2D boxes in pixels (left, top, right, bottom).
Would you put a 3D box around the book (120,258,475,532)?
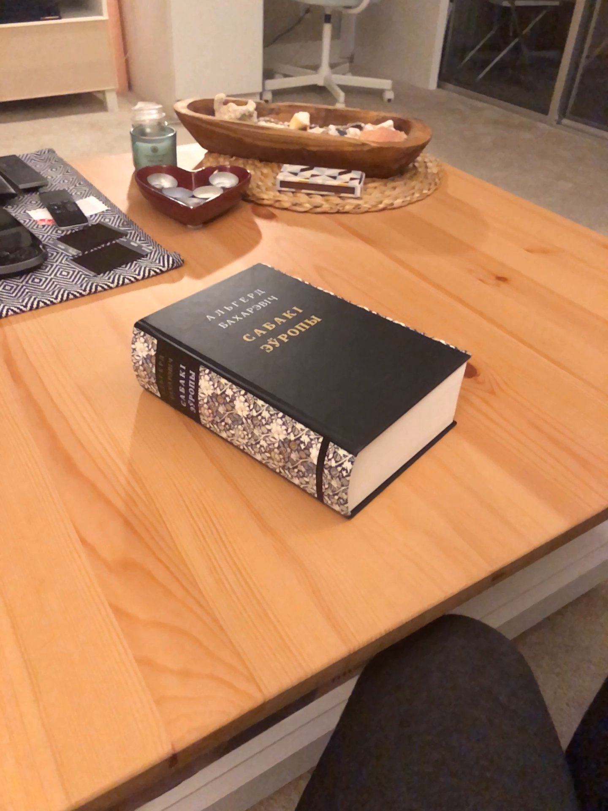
[{"bbox_3d":[-0.008,-0.026,0.538,0.229,0.061,0.158,30,47,28],"label":"book"}]
